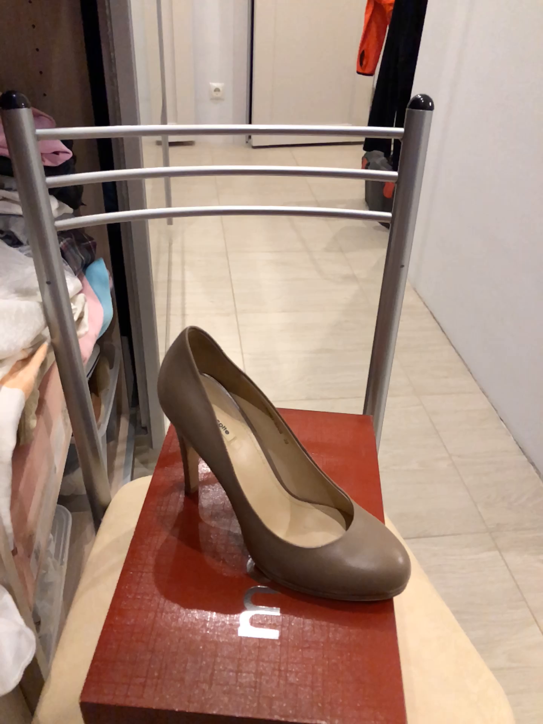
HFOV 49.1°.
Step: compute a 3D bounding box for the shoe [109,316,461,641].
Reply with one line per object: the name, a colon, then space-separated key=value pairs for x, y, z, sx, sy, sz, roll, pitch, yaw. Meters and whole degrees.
shoe: x=0.004 y=0.076 z=0.427 sx=0.214 sy=0.145 sz=0.084 roll=18 pitch=37 yaw=21
